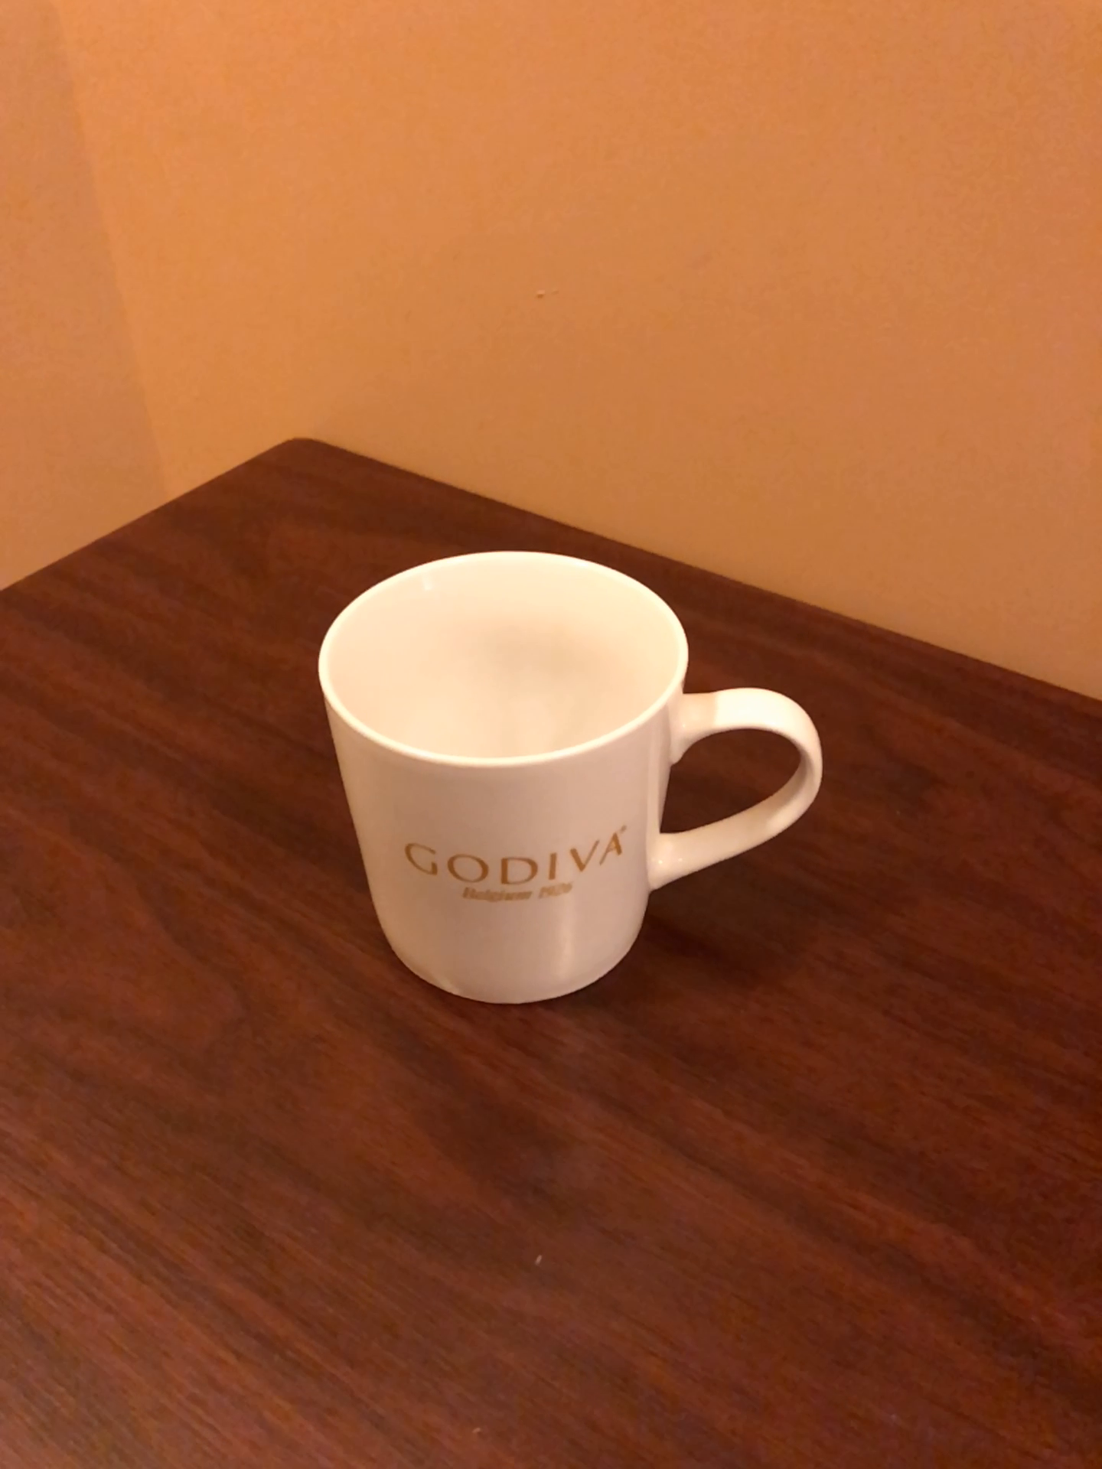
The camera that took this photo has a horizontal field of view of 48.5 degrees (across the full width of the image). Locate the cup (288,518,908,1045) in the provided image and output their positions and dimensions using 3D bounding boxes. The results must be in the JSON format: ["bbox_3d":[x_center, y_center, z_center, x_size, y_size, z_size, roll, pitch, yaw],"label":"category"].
[{"bbox_3d":[0.008,0.010,0.368,0.150,0.099,0.111,-4,39,-4],"label":"cup"}]
